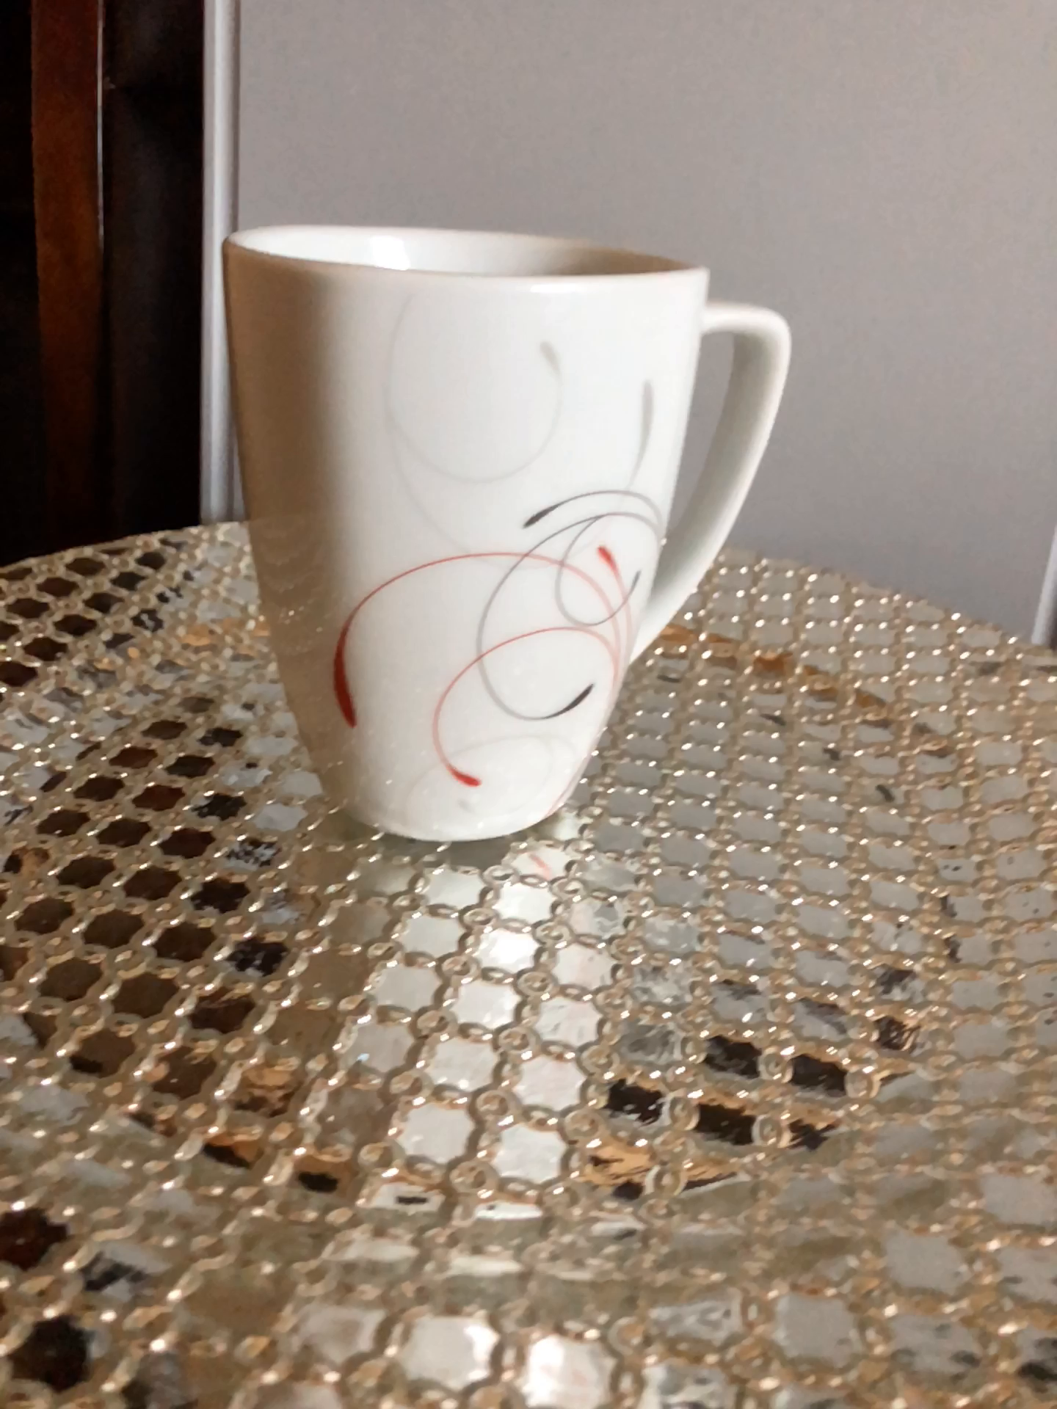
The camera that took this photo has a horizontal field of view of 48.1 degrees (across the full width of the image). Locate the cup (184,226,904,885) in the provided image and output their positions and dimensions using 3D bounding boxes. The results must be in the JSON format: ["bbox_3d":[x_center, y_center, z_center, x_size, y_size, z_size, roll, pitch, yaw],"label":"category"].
[{"bbox_3d":[0.000,-0.040,0.244,0.110,0.100,0.080,-13,30,-33],"label":"cup"}]
